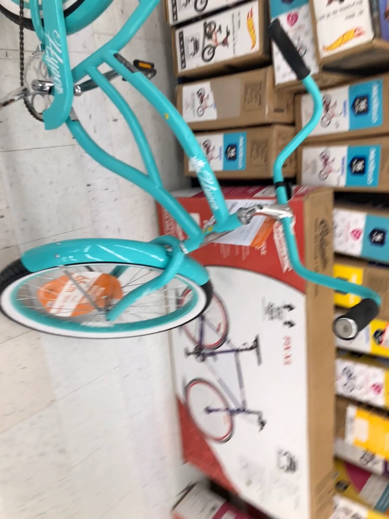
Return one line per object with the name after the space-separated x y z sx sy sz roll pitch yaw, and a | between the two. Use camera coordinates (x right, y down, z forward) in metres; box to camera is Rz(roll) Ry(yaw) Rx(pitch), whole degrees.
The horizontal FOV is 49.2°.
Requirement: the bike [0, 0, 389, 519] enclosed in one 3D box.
-0.042 -0.494 1.027 0.855 1.152 1.583 -33 117 -41 | bike
